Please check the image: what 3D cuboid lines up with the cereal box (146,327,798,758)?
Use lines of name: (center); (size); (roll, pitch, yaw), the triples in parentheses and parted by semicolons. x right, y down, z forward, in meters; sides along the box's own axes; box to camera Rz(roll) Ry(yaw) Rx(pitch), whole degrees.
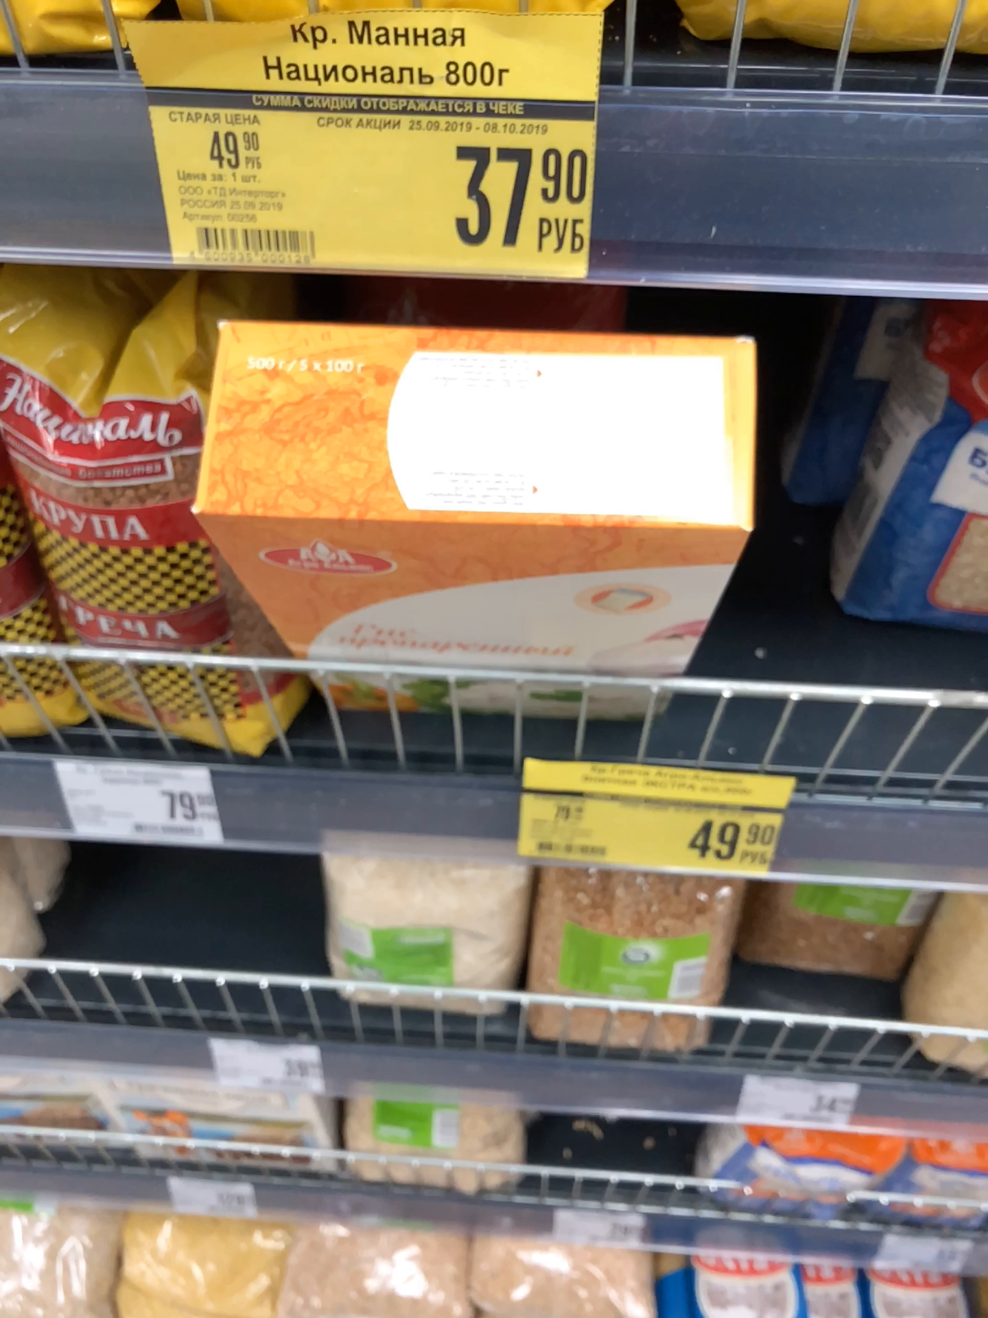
cereal box: (-0.003, -0.020, 0.337); (0.140, 0.189, 0.060); (2, 74, 2)
